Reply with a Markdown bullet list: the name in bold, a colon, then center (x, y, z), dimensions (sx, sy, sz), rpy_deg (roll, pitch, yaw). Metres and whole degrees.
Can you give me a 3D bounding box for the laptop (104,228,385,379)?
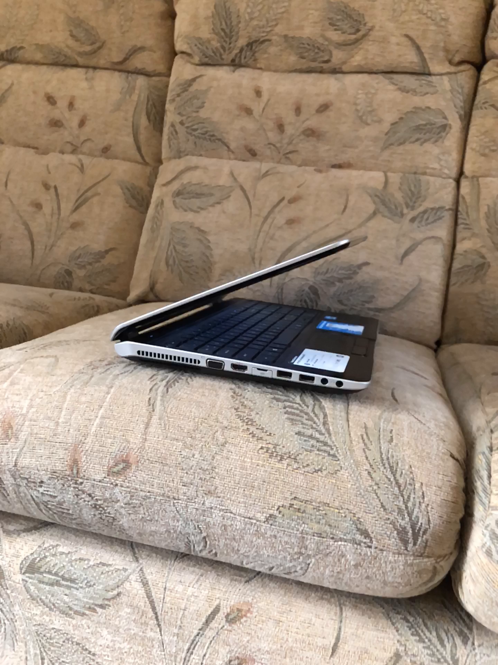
- **laptop**: center (0.035, -0.062, 0.696), dimensions (0.254, 0.113, 0.398), rpy_deg (7, 12, 12)
